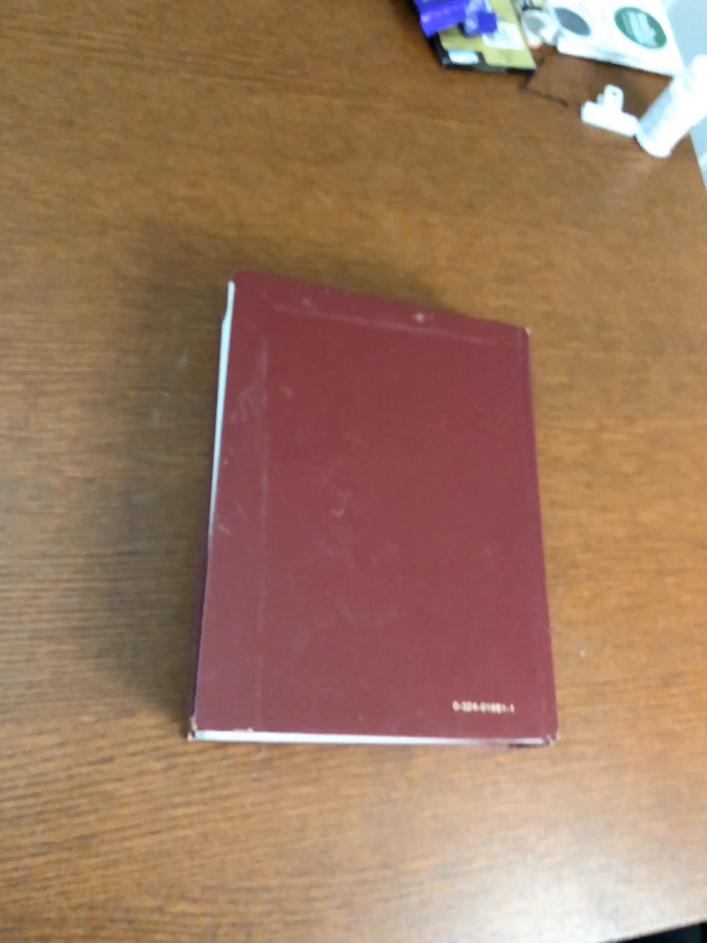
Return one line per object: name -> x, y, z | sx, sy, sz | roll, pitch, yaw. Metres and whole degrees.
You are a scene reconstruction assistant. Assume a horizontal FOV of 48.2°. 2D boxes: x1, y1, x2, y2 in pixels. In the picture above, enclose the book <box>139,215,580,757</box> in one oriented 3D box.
book -> 0.005, 0.011, 0.469 | 0.220, 0.070, 0.291 | 8, 66, -17
